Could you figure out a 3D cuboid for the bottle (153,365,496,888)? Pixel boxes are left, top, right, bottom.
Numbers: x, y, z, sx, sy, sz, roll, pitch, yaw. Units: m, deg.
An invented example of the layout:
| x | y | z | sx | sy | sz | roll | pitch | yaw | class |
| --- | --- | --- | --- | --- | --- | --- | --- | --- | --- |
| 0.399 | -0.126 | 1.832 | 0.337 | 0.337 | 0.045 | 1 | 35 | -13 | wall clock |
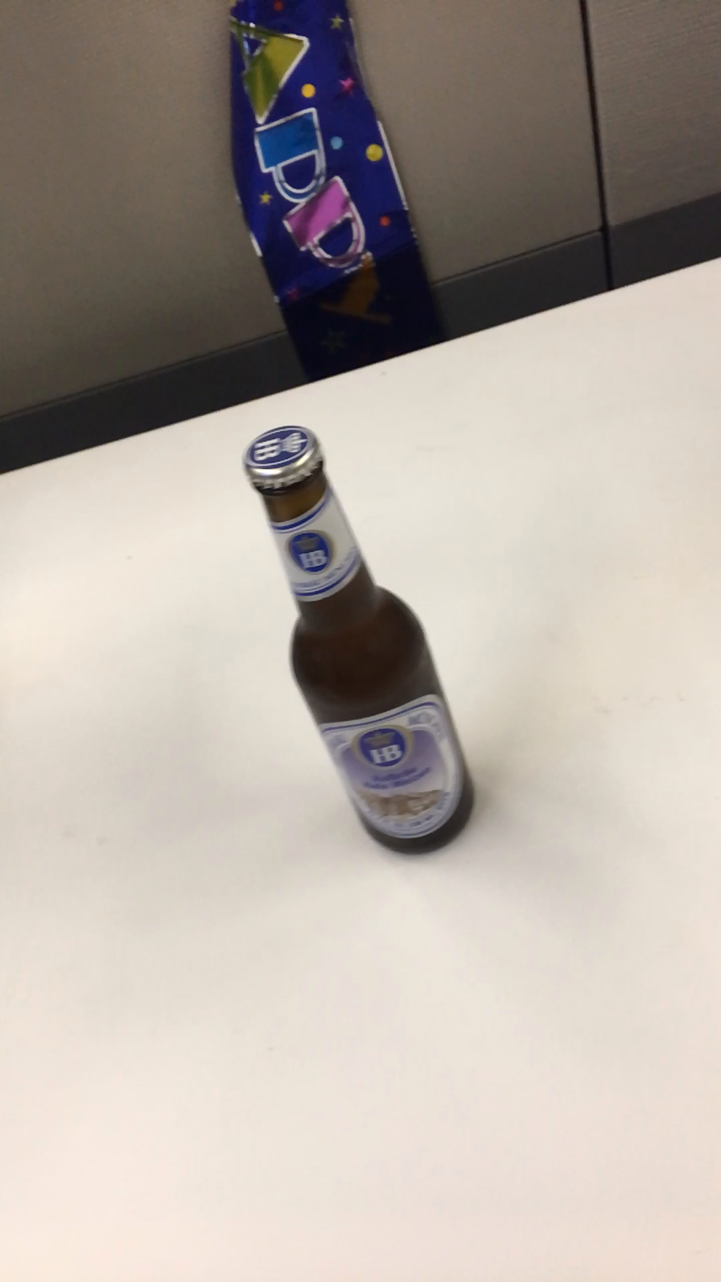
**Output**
| x | y | z | sx | sy | sz | roll | pitch | yaw | class |
| --- | --- | --- | --- | --- | --- | --- | --- | --- | --- |
| -0.003 | 0.009 | 0.464 | 0.080 | 0.230 | 0.080 | -10 | 46 | 10 | bottle |
